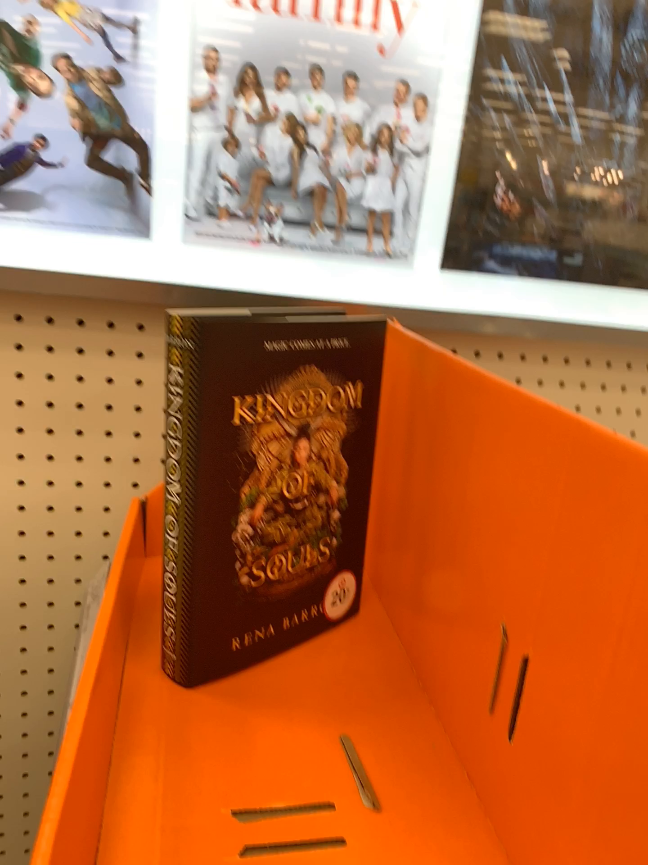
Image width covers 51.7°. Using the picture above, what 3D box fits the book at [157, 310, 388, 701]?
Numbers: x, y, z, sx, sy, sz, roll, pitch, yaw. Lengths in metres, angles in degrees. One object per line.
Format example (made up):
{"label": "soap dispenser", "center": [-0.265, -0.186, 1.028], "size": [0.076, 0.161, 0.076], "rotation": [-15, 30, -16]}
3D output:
{"label": "book", "center": [-0.034, 0.039, 0.465], "size": [0.160, 0.241, 0.040], "rotation": [-9, 19, -43]}
